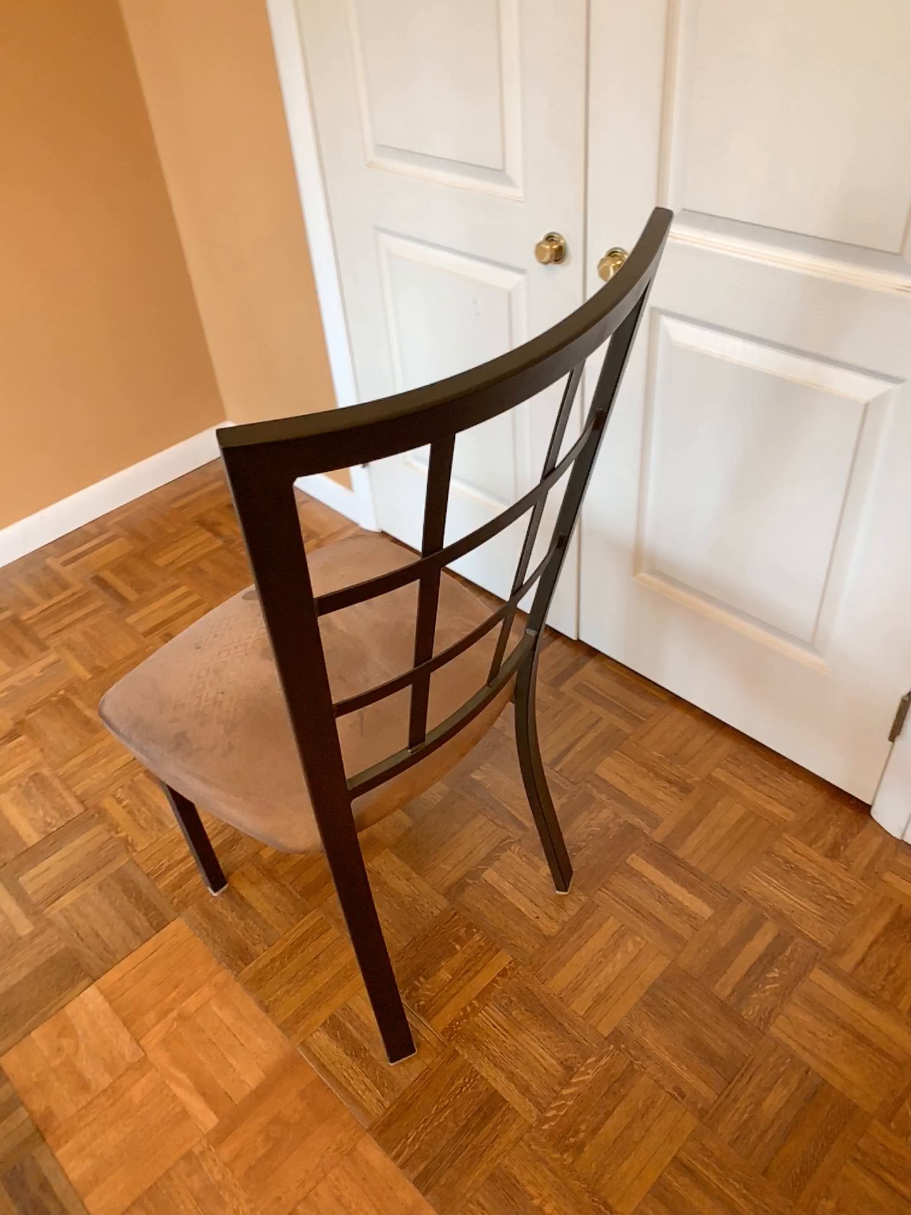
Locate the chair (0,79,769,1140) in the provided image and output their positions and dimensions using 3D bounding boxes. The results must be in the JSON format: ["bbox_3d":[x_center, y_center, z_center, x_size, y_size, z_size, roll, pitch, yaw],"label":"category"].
[{"bbox_3d":[-0.131,0.023,1.107,0.622,0.985,0.511,33,53,32],"label":"chair"}]
